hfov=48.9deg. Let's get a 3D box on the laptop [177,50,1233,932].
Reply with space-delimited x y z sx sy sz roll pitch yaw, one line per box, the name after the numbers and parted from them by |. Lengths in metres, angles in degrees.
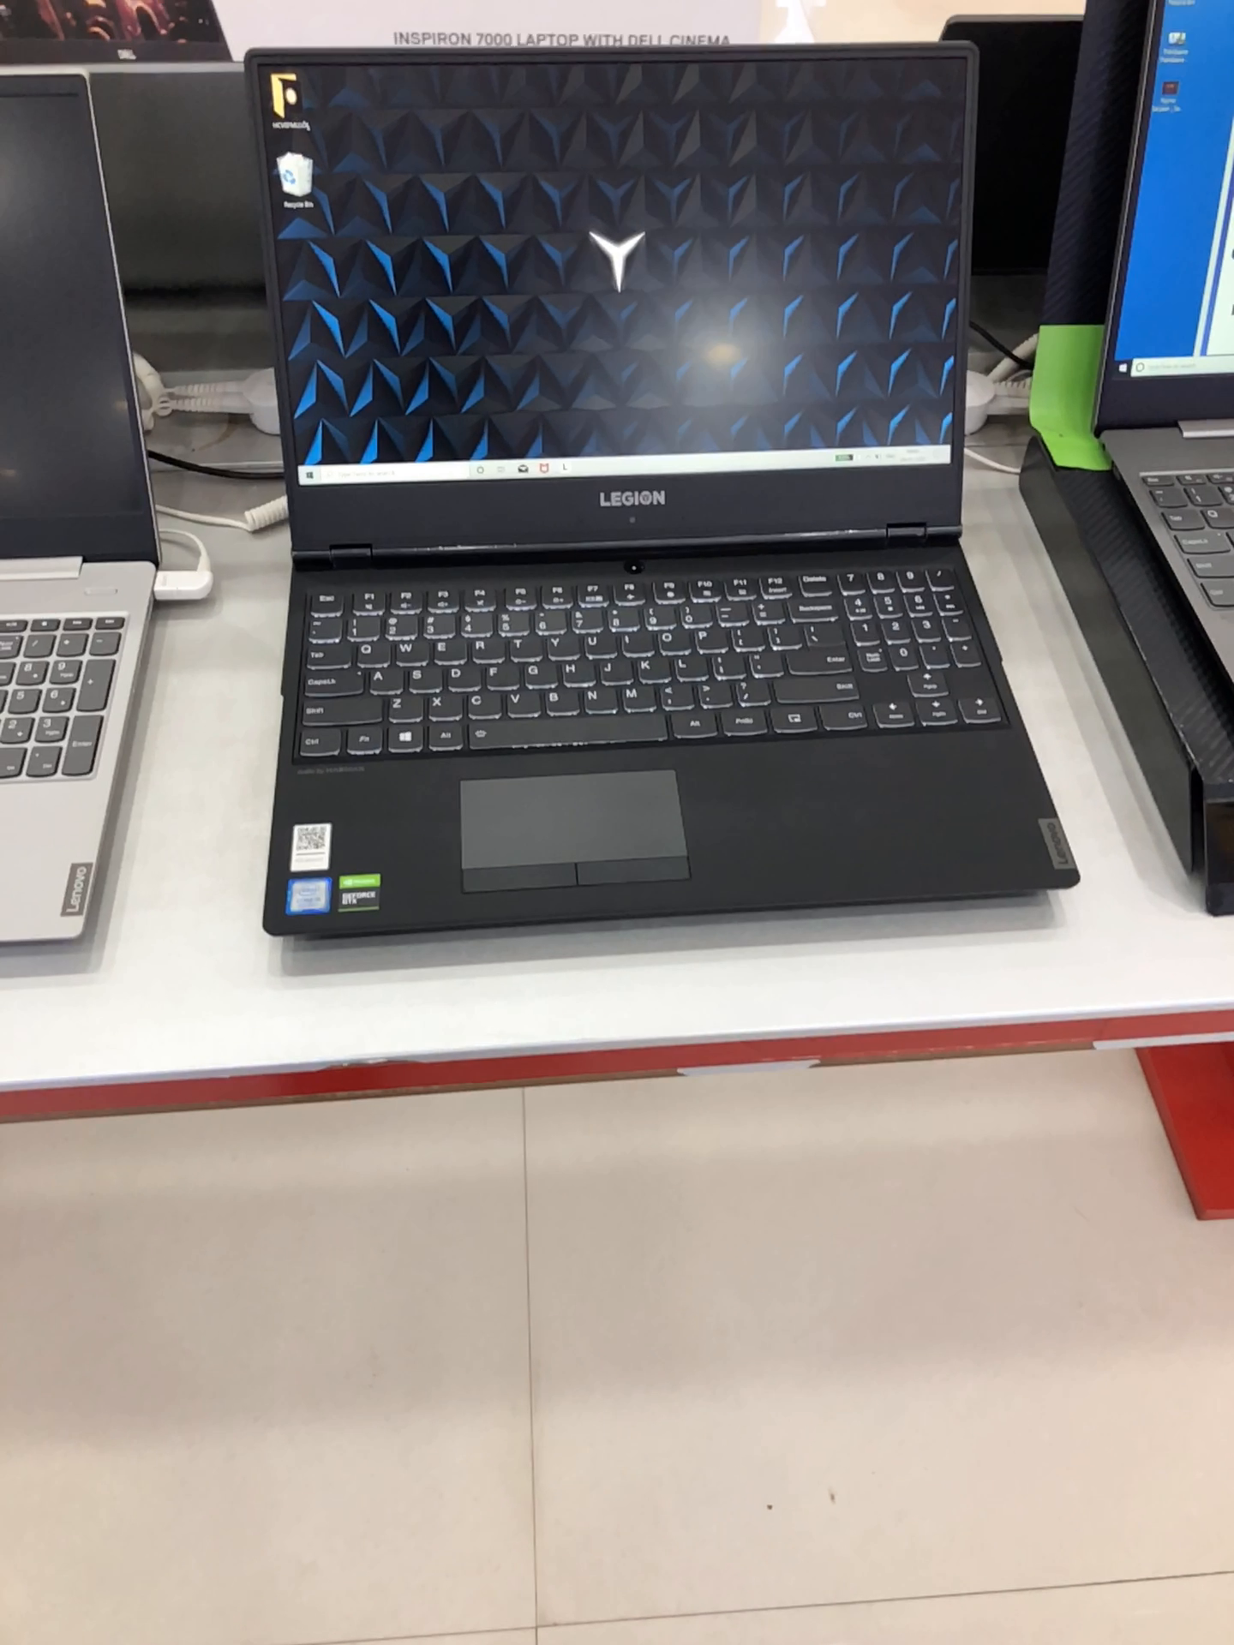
0.017 -0.162 0.598 0.334 0.191 0.349 -3 52 -5 | laptop
